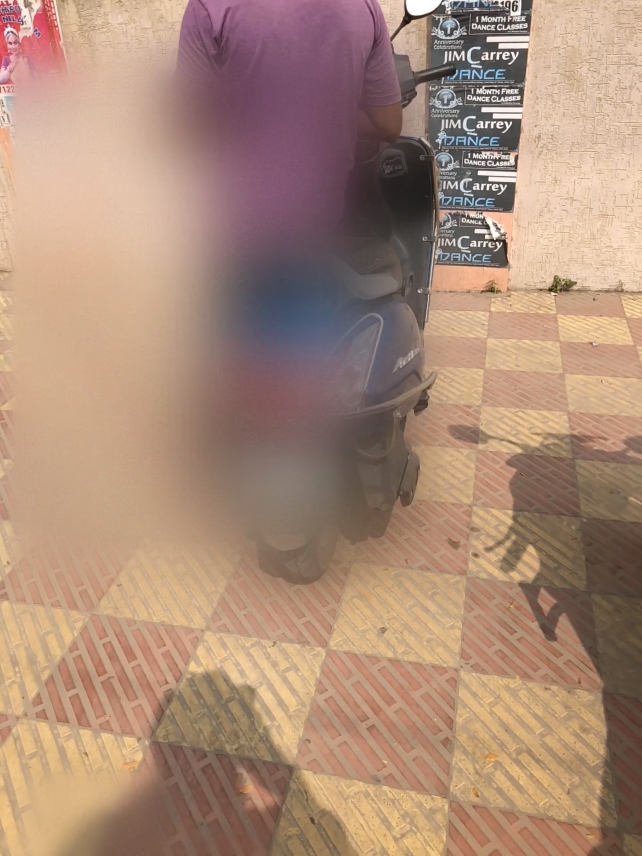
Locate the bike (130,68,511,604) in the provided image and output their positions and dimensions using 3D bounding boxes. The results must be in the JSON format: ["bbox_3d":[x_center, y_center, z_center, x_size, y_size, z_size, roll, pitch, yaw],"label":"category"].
[{"bbox_3d":[0.130,-0.459,2.147,0.622,1.038,1.712,2,30,8],"label":"bike"}]
